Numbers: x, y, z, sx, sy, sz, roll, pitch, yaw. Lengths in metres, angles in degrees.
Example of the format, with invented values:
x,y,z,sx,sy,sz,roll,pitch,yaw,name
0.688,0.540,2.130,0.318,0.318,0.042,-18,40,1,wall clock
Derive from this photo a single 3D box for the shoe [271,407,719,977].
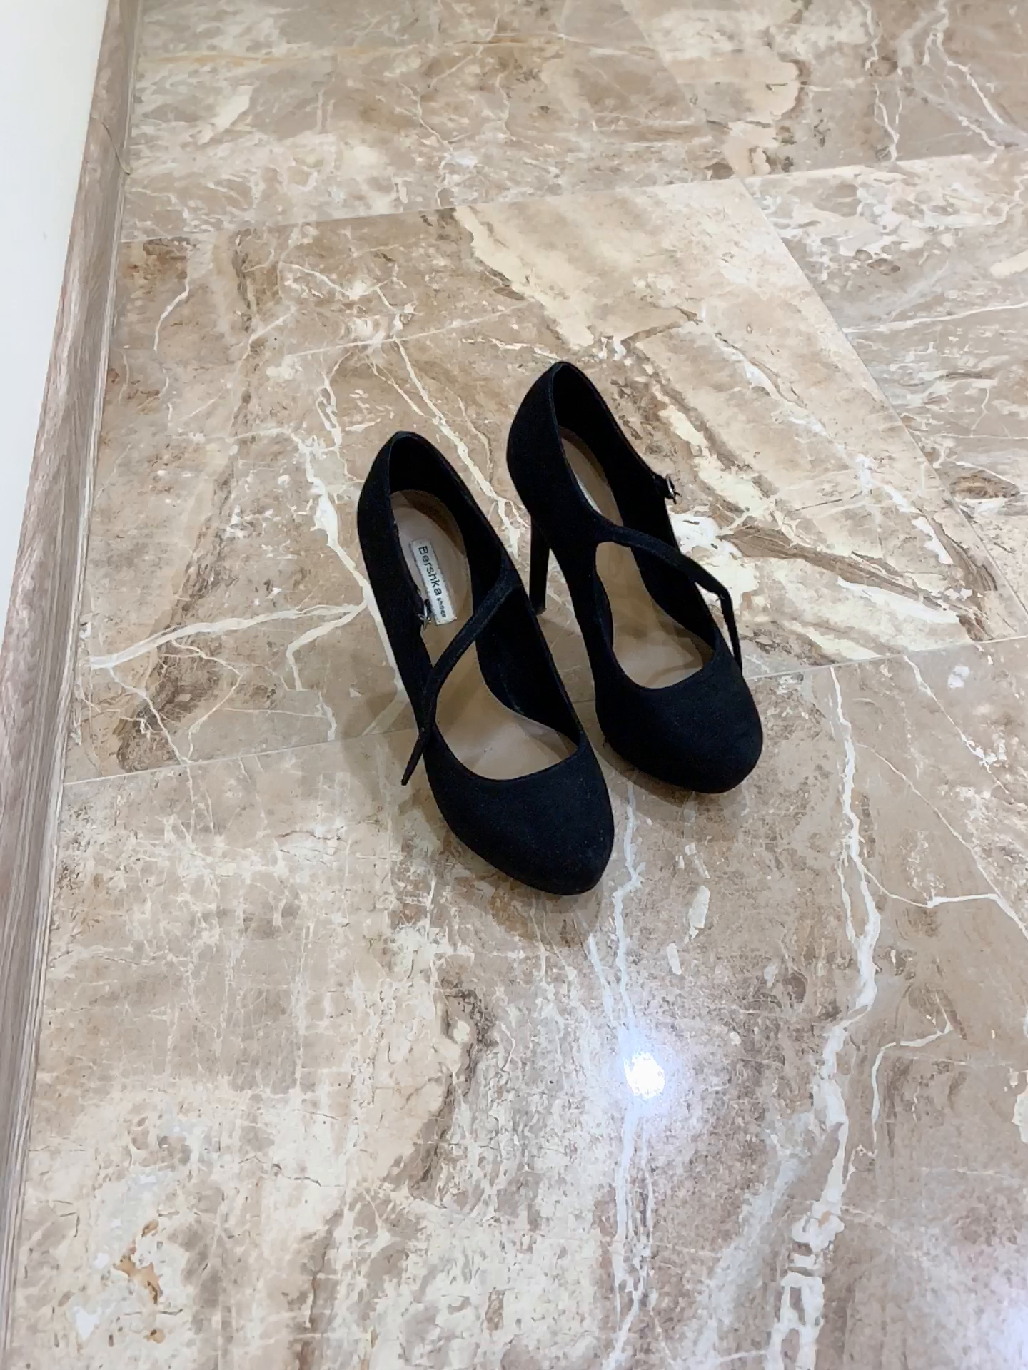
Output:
x,y,z,sx,sy,sz,roll,pitch,yaw,name
-0.016,0.002,0.518,0.089,0.169,0.211,-29,56,-21,shoe

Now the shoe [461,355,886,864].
x,y,z,sx,sy,sz,roll,pitch,yaw,name
0.067,-0.042,0.555,0.080,0.159,0.211,-29,56,-21,shoe
